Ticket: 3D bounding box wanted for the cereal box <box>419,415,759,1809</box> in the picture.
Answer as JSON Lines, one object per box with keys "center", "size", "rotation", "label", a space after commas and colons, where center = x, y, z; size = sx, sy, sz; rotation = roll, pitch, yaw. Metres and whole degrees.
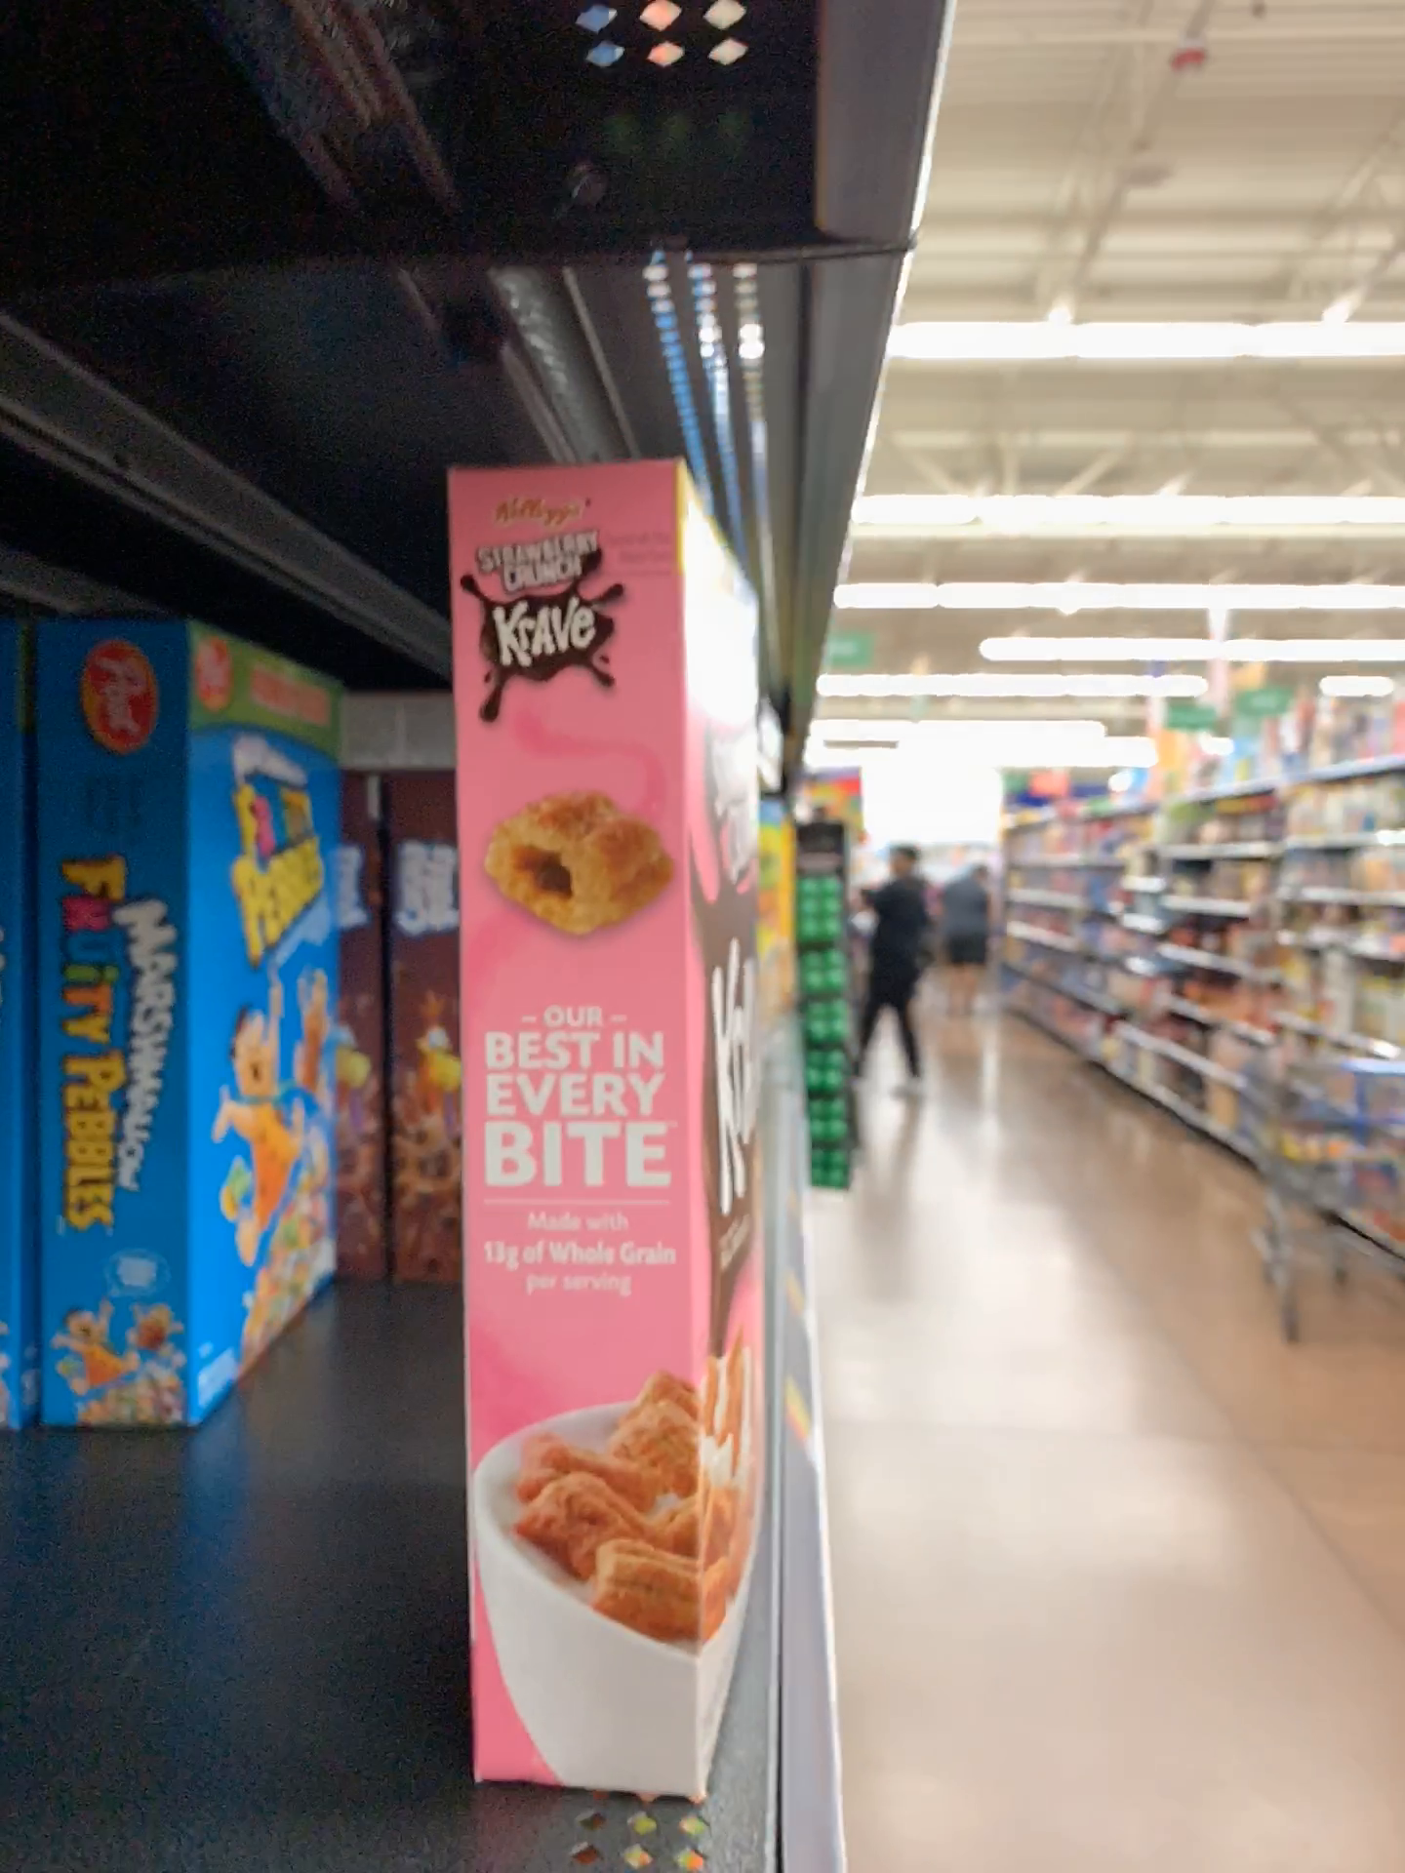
{"center": [-0.023, 0.039, 0.449], "size": [0.060, 0.330, 0.200], "rotation": [-1, 2, 7], "label": "cereal box"}
